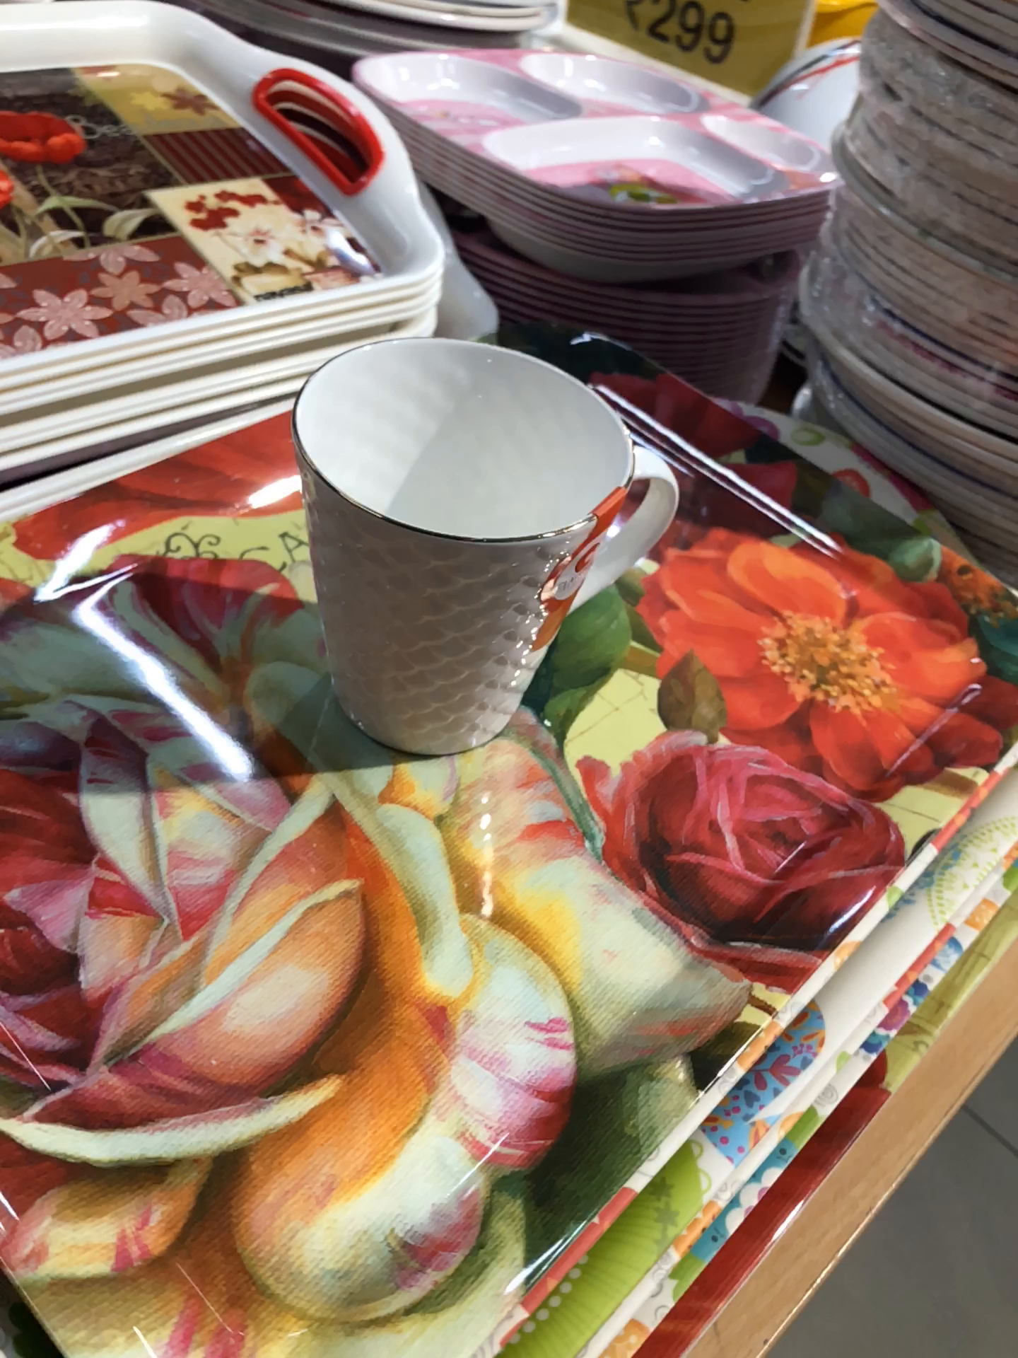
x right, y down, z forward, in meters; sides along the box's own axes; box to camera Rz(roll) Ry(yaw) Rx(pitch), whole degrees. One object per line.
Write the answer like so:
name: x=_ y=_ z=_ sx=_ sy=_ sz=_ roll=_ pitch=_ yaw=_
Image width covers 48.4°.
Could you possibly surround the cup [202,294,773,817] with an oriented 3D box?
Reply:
cup: x=-0.013 y=-0.042 z=0.331 sx=0.120 sy=0.089 sz=0.100 roll=-15 pitch=49 yaw=-27
